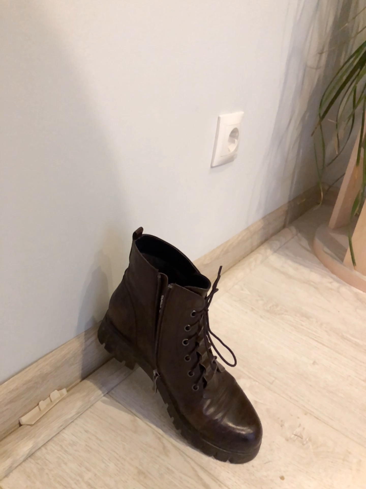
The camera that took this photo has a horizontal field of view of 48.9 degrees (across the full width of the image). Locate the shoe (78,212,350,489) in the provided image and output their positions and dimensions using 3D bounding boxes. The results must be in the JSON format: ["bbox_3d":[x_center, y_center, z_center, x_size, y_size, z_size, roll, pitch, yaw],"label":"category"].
[{"bbox_3d":[0.020,0.121,0.479,0.260,0.179,0.101,39,39,16],"label":"shoe"}]
